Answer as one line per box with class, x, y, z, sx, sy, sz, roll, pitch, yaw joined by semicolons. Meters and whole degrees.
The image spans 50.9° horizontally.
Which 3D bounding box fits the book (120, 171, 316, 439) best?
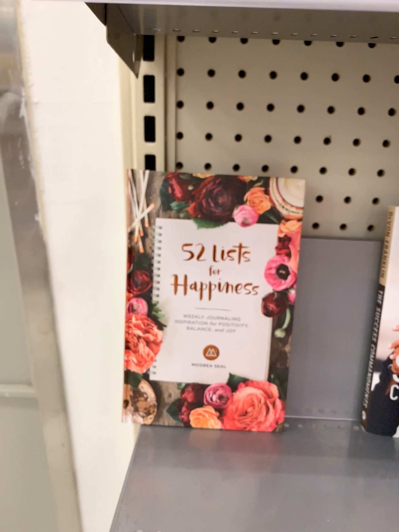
book;0.010;0.035;0.350;0.150;0.216;0.020;3;10;3
